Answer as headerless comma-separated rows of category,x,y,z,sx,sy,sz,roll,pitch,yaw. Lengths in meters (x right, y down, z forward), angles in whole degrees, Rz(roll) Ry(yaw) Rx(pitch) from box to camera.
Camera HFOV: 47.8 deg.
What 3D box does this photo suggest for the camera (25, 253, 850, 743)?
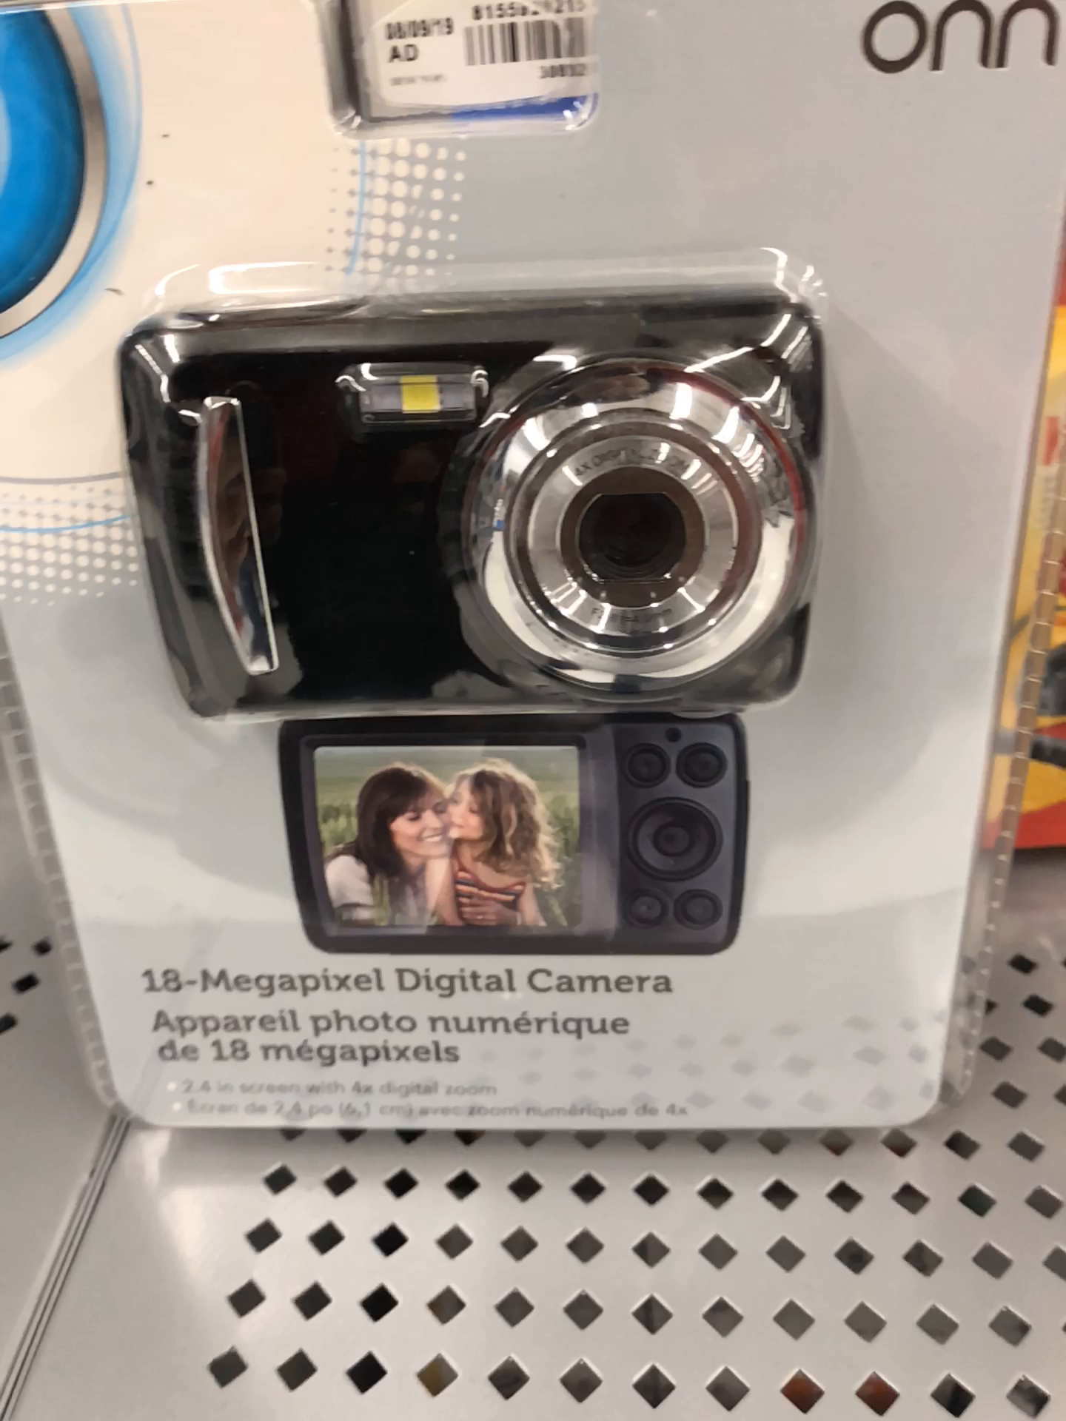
camera,-0.010,-0.029,0.172,0.100,0.060,0.030,-1,29,5
